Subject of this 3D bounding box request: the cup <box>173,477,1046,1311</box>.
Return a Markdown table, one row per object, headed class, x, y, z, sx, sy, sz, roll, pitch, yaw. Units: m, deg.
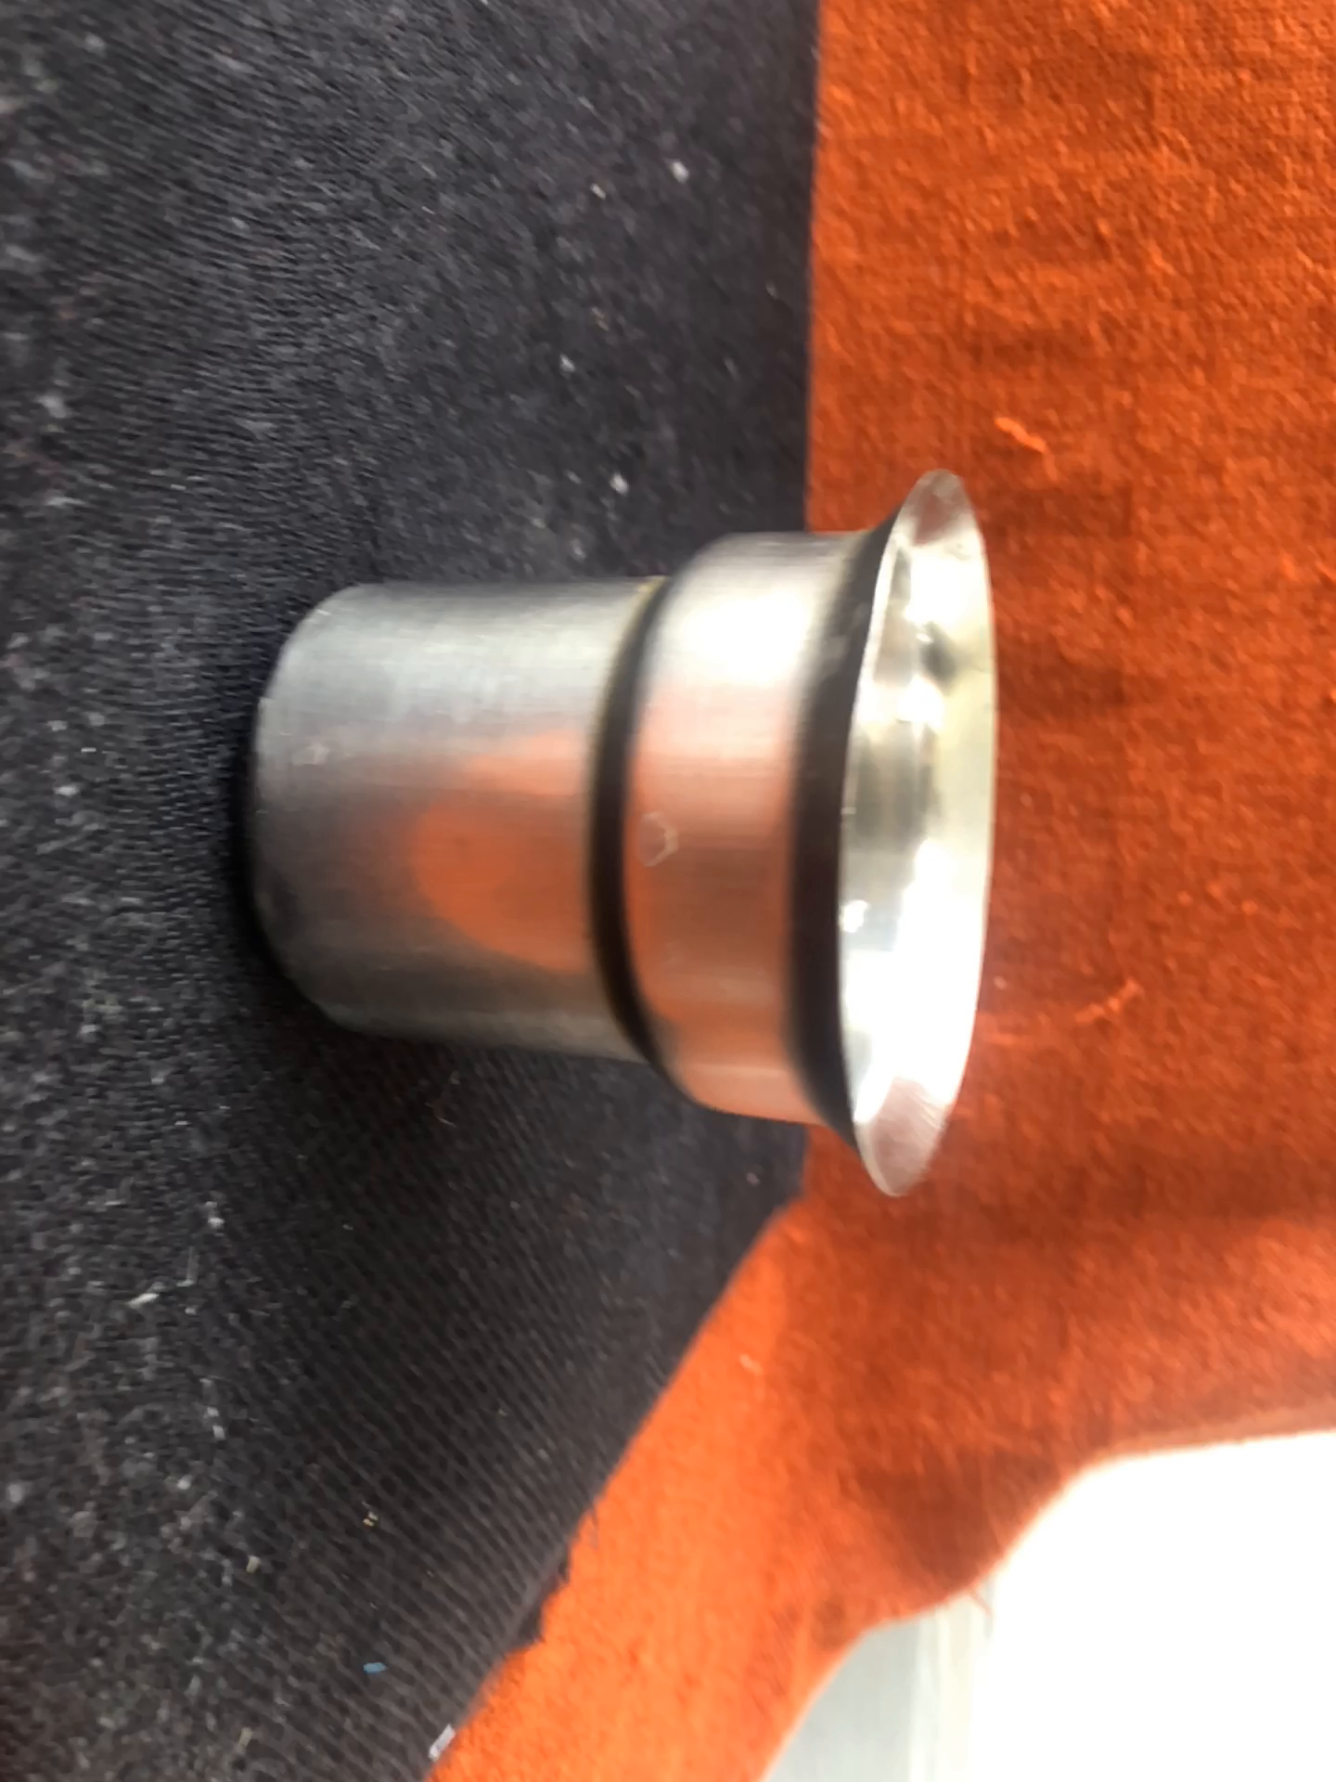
| class | x | y | z | sx | sy | sz | roll | pitch | yaw |
| --- | --- | --- | --- | --- | --- | --- | --- | --- | --- |
| cup | 0.001 | -0.008 | 0.168 | 0.070 | 0.070 | 0.070 | 5 | 90 | -71 |
